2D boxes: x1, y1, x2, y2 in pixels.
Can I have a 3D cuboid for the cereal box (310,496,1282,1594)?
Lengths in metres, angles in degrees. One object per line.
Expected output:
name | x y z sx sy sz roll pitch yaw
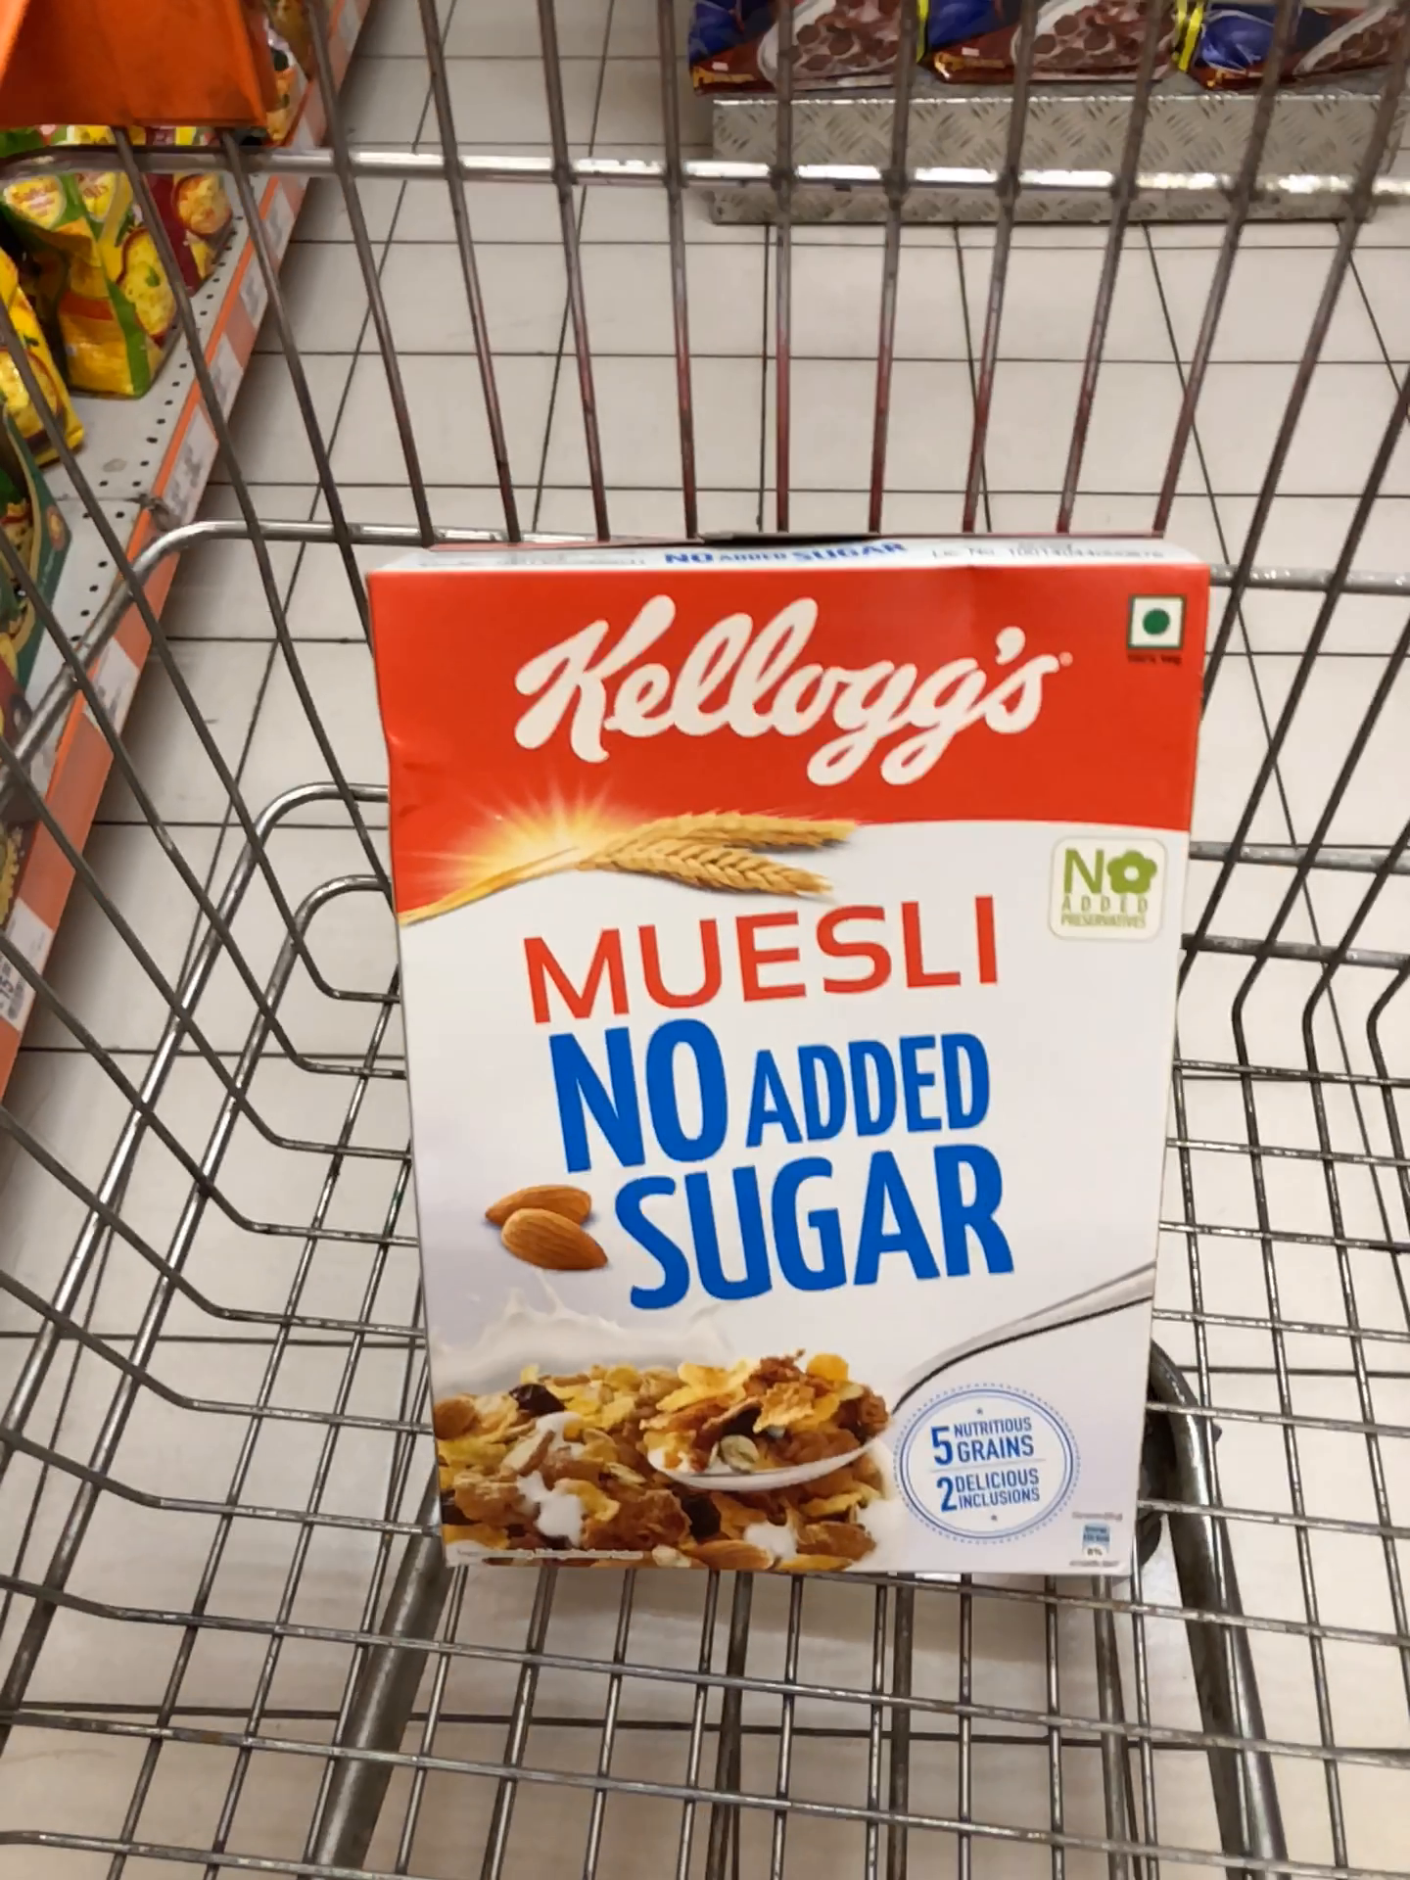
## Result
cereal box | 0.019 0.029 0.381 0.190 0.259 0.070 0 20 2
